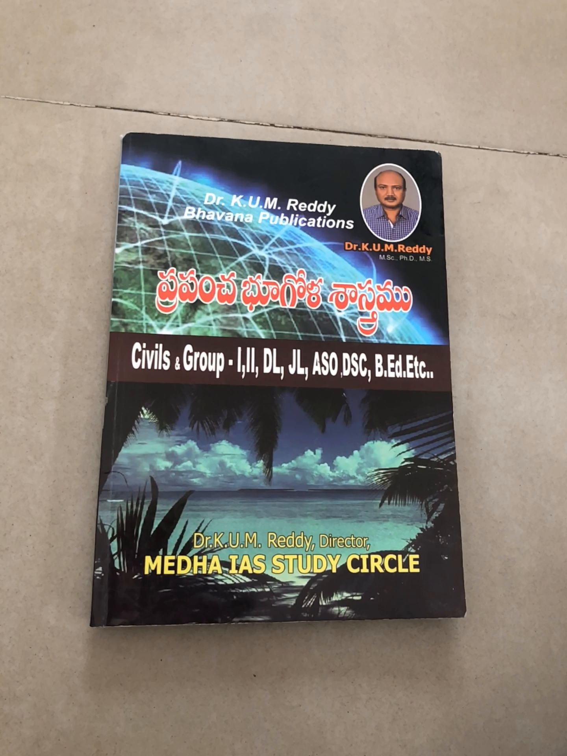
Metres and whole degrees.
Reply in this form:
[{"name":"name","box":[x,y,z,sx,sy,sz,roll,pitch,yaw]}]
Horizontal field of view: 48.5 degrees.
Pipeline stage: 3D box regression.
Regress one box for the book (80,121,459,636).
[{"name":"book","box":[-0.006,-0.005,0.337,0.180,0.030,0.260,1,78,-7]}]
